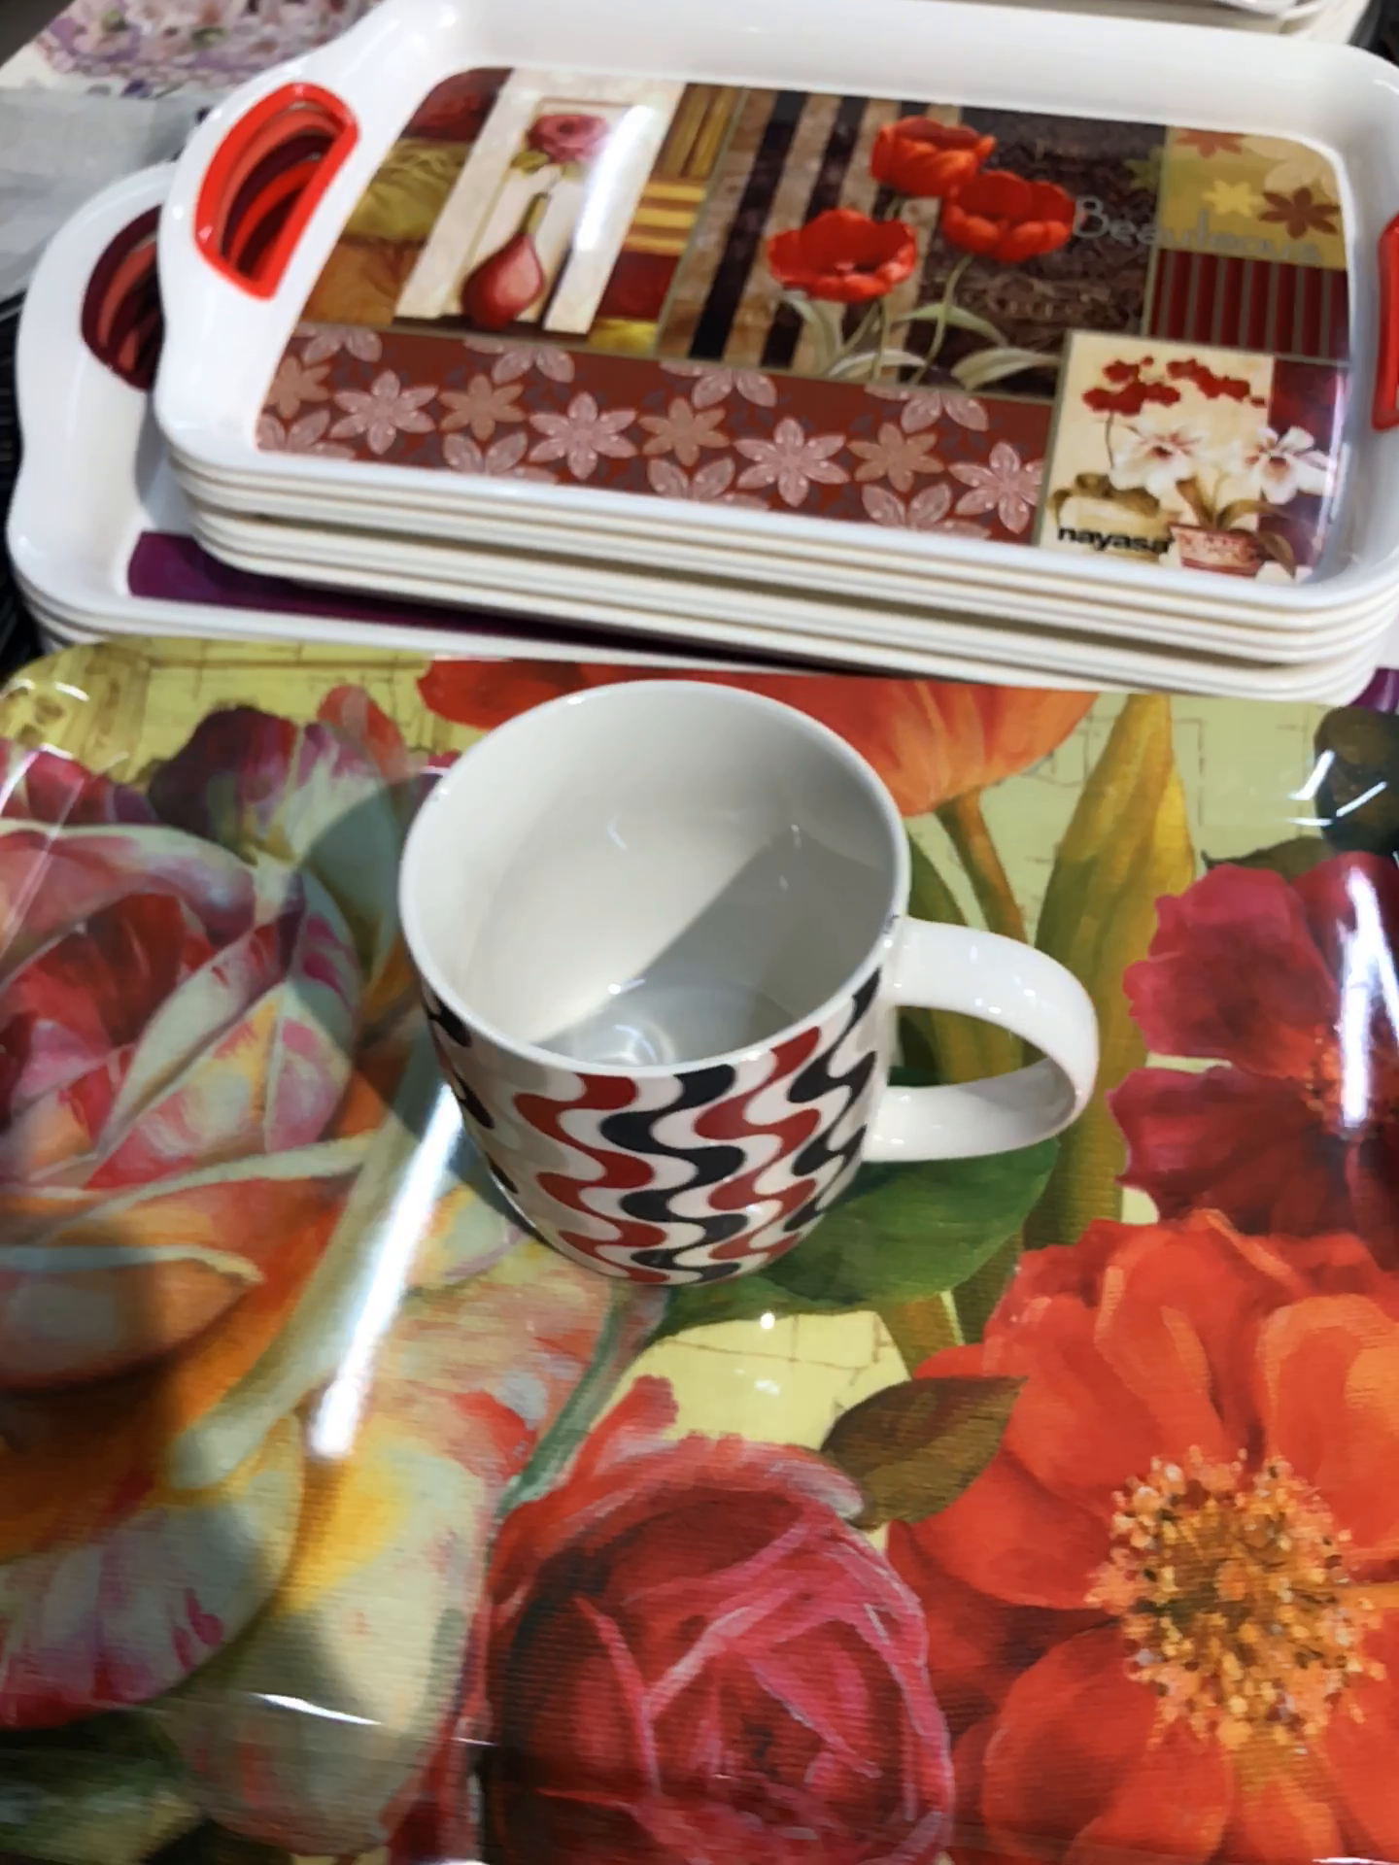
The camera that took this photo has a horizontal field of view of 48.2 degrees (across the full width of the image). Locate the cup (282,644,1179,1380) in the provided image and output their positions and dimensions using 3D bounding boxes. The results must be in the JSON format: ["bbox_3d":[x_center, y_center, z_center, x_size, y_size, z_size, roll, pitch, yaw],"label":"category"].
[{"bbox_3d":[0.010,0.013,0.284,0.130,0.080,0.091,6,50,6],"label":"cup"}]
